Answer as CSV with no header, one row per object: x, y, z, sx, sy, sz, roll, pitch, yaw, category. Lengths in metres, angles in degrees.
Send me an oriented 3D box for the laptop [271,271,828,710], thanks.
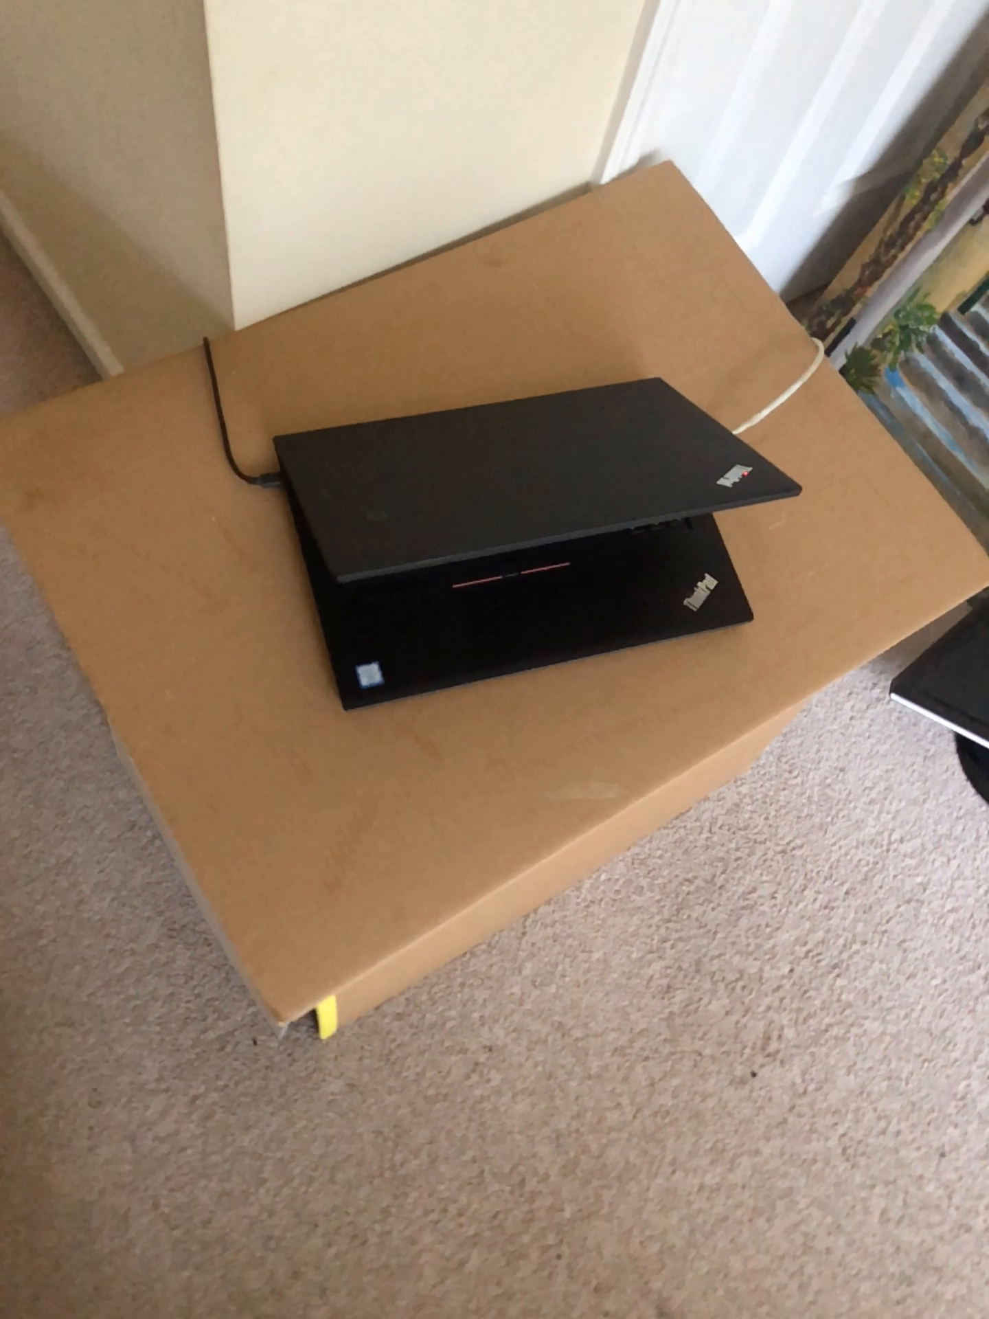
0.027,-0.129,0.798,0.334,0.140,0.232,-12,69,-15,laptop
